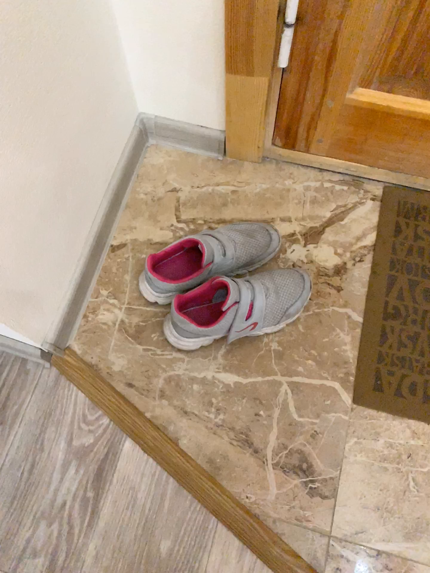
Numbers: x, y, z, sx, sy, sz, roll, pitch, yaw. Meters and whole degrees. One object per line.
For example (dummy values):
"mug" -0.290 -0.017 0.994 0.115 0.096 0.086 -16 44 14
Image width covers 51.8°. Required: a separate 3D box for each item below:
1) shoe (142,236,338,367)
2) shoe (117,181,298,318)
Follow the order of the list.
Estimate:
"shoe" 0.036 0.026 0.677 0.260 0.100 0.100 -17 69 -5
"shoe" -0.010 -0.056 0.705 0.250 0.100 0.100 -22 70 -7
